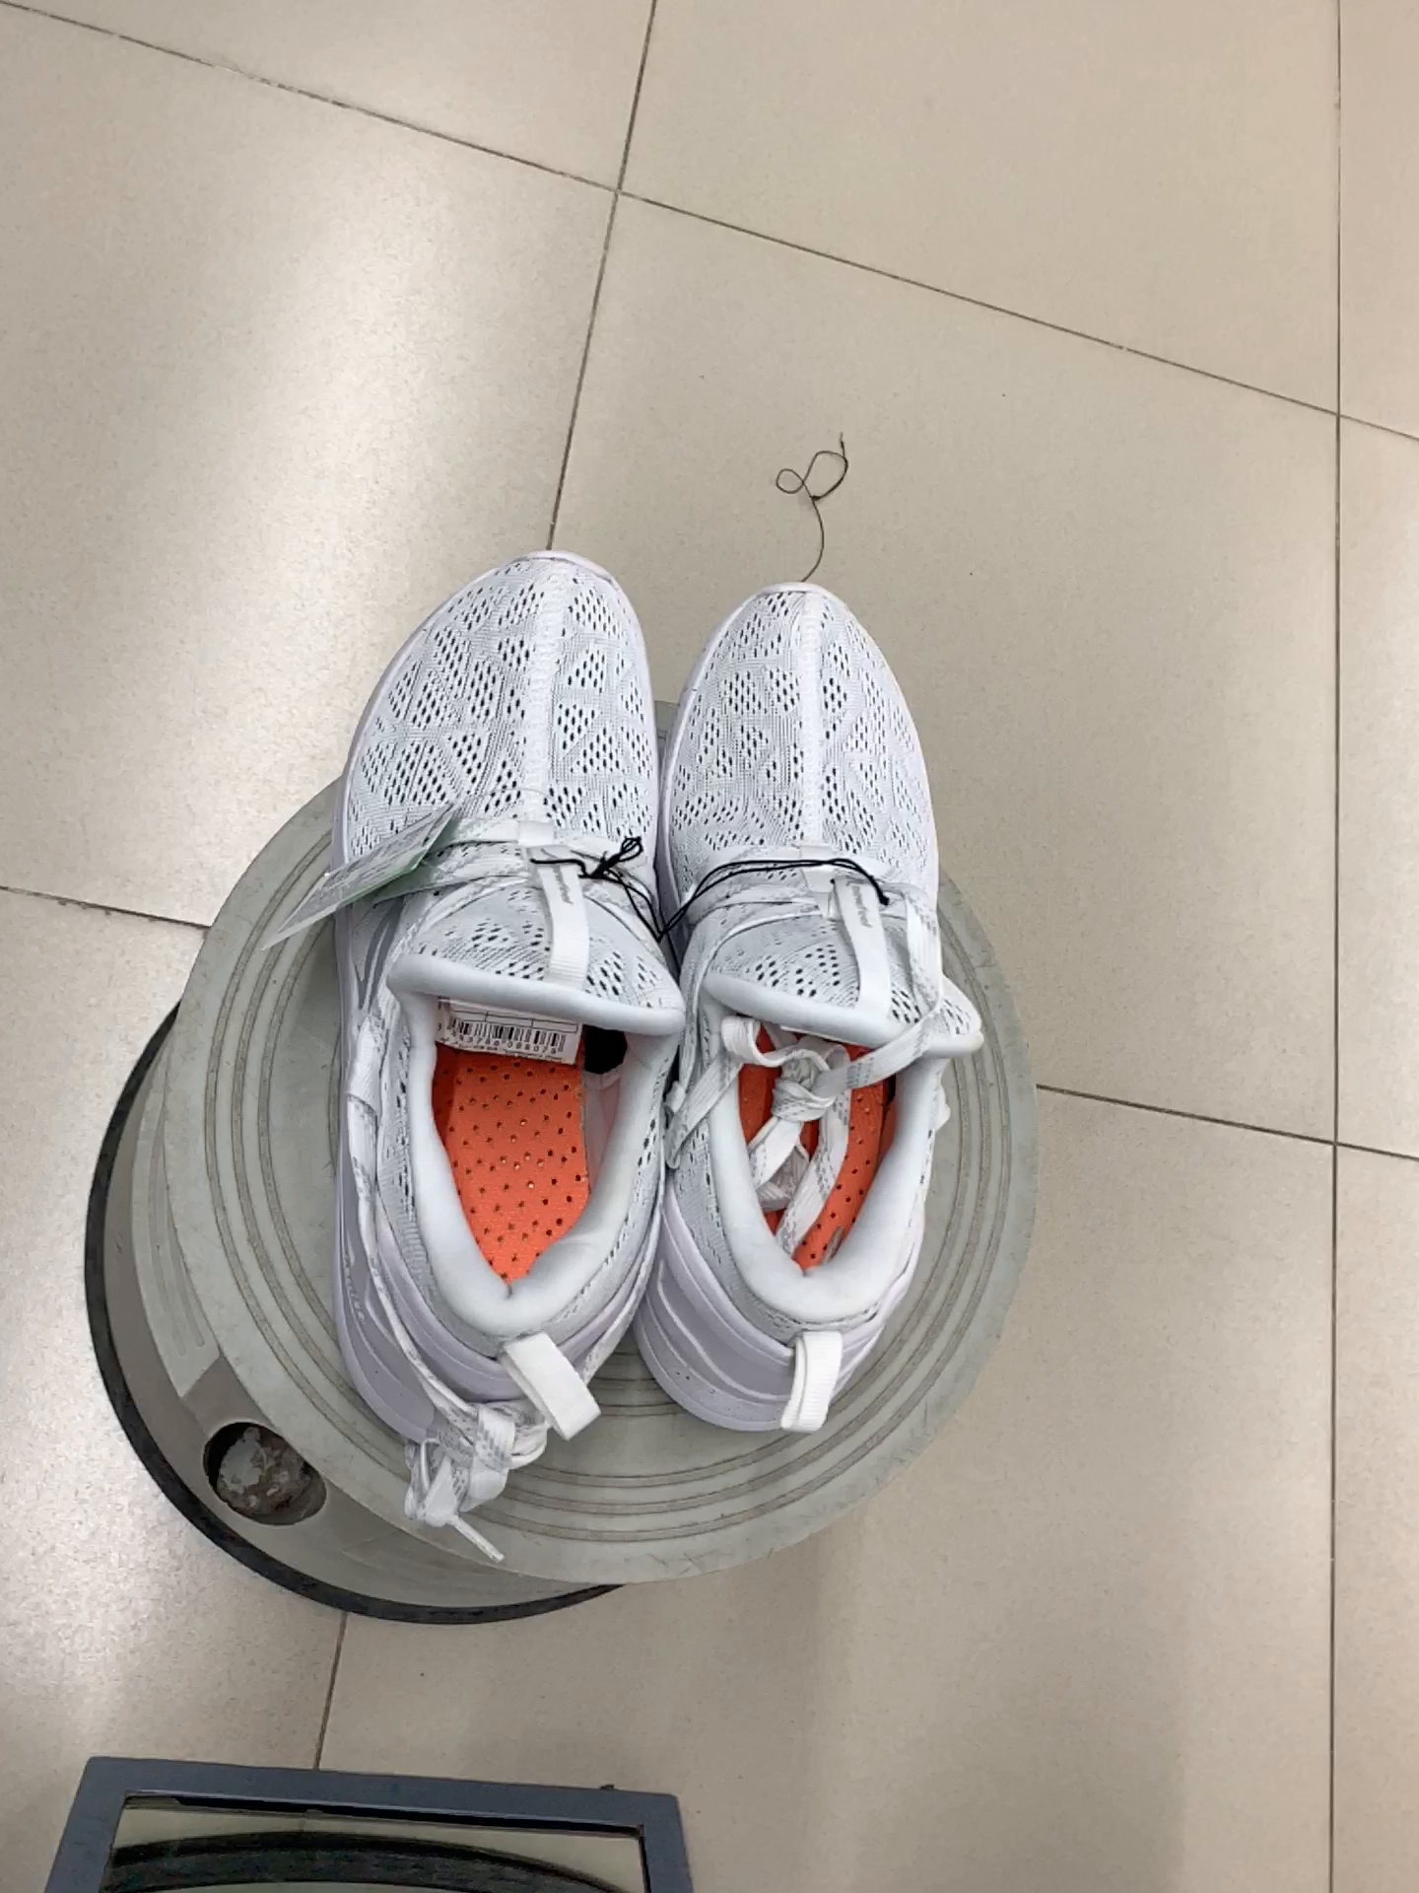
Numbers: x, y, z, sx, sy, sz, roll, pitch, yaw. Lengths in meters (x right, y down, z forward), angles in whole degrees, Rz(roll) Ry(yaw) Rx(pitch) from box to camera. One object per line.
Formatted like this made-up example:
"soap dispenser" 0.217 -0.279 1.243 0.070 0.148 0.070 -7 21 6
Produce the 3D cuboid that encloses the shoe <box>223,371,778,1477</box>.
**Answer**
"shoe" -0.055 -0.004 0.412 0.110 0.090 0.280 8 73 -13

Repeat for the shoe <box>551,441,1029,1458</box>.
"shoe" 0.027 0.002 0.441 0.110 0.080 0.280 8 73 -13
